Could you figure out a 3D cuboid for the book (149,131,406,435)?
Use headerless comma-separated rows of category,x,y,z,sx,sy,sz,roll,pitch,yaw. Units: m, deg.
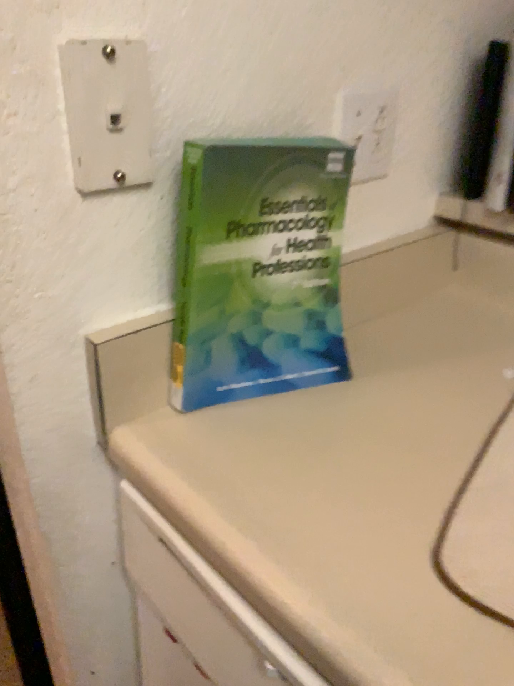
book,0.019,-0.074,0.610,0.240,0.270,0.090,-15,32,-34
